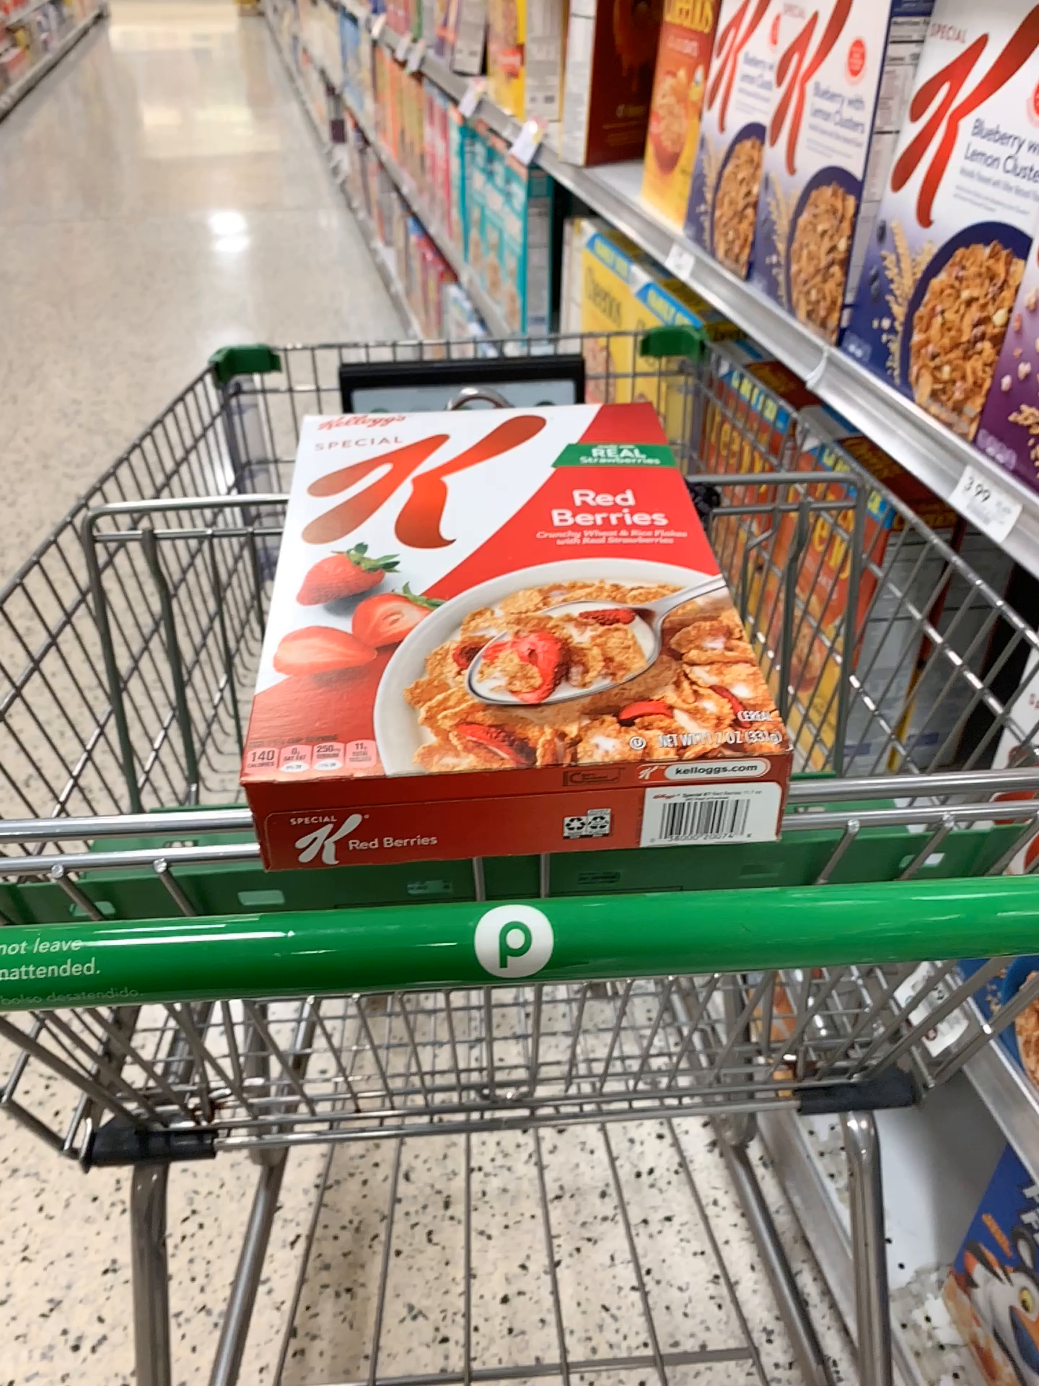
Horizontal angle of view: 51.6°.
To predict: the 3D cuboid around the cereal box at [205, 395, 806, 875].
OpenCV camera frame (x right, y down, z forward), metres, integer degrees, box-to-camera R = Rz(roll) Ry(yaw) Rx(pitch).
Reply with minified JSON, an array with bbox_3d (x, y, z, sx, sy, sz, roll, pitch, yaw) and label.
[{"bbox_3d":[-0.014,-0.049,0.482,0.200,0.049,0.283,-3,39,-3],"label":"cereal box"}]
